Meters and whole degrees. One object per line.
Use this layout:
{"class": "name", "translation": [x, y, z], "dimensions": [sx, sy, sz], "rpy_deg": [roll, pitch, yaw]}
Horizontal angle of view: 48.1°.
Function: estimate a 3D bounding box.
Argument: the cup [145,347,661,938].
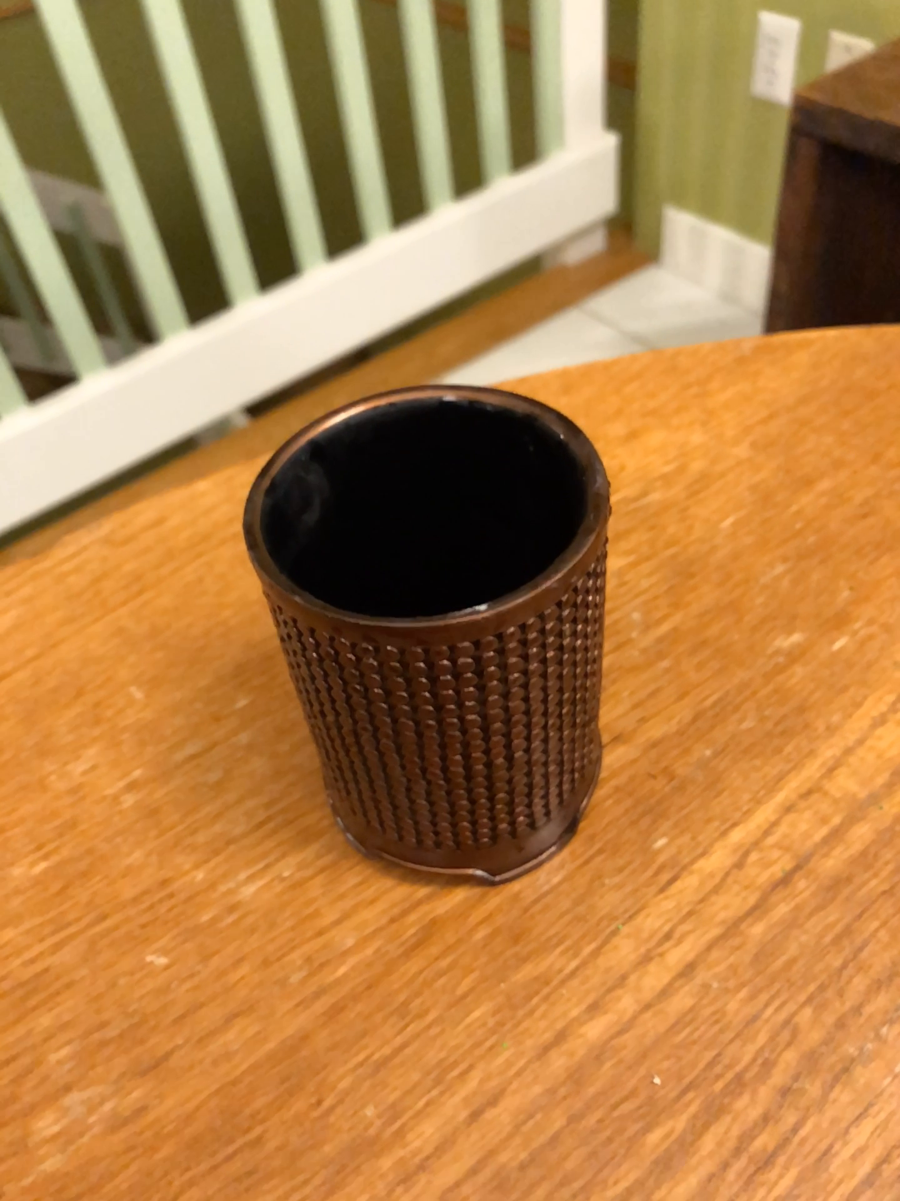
{"class": "cup", "translation": [-0.004, 0.010, 0.238], "dimensions": [0.078, 0.097, 0.073], "rpy_deg": [-4, 47, 4]}
